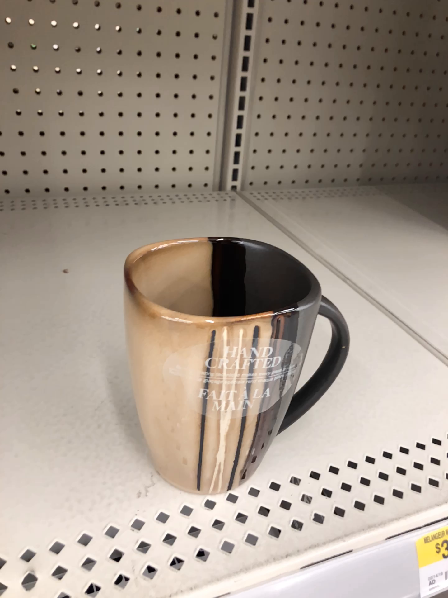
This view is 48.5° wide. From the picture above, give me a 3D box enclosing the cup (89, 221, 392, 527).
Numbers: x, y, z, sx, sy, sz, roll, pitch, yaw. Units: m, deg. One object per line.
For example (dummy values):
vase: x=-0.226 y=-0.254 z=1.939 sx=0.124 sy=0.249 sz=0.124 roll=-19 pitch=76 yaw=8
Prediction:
cup: x=0.000 y=0.030 z=0.263 sx=0.120 sy=0.110 sz=0.087 roll=-8 pitch=31 yaw=-22
